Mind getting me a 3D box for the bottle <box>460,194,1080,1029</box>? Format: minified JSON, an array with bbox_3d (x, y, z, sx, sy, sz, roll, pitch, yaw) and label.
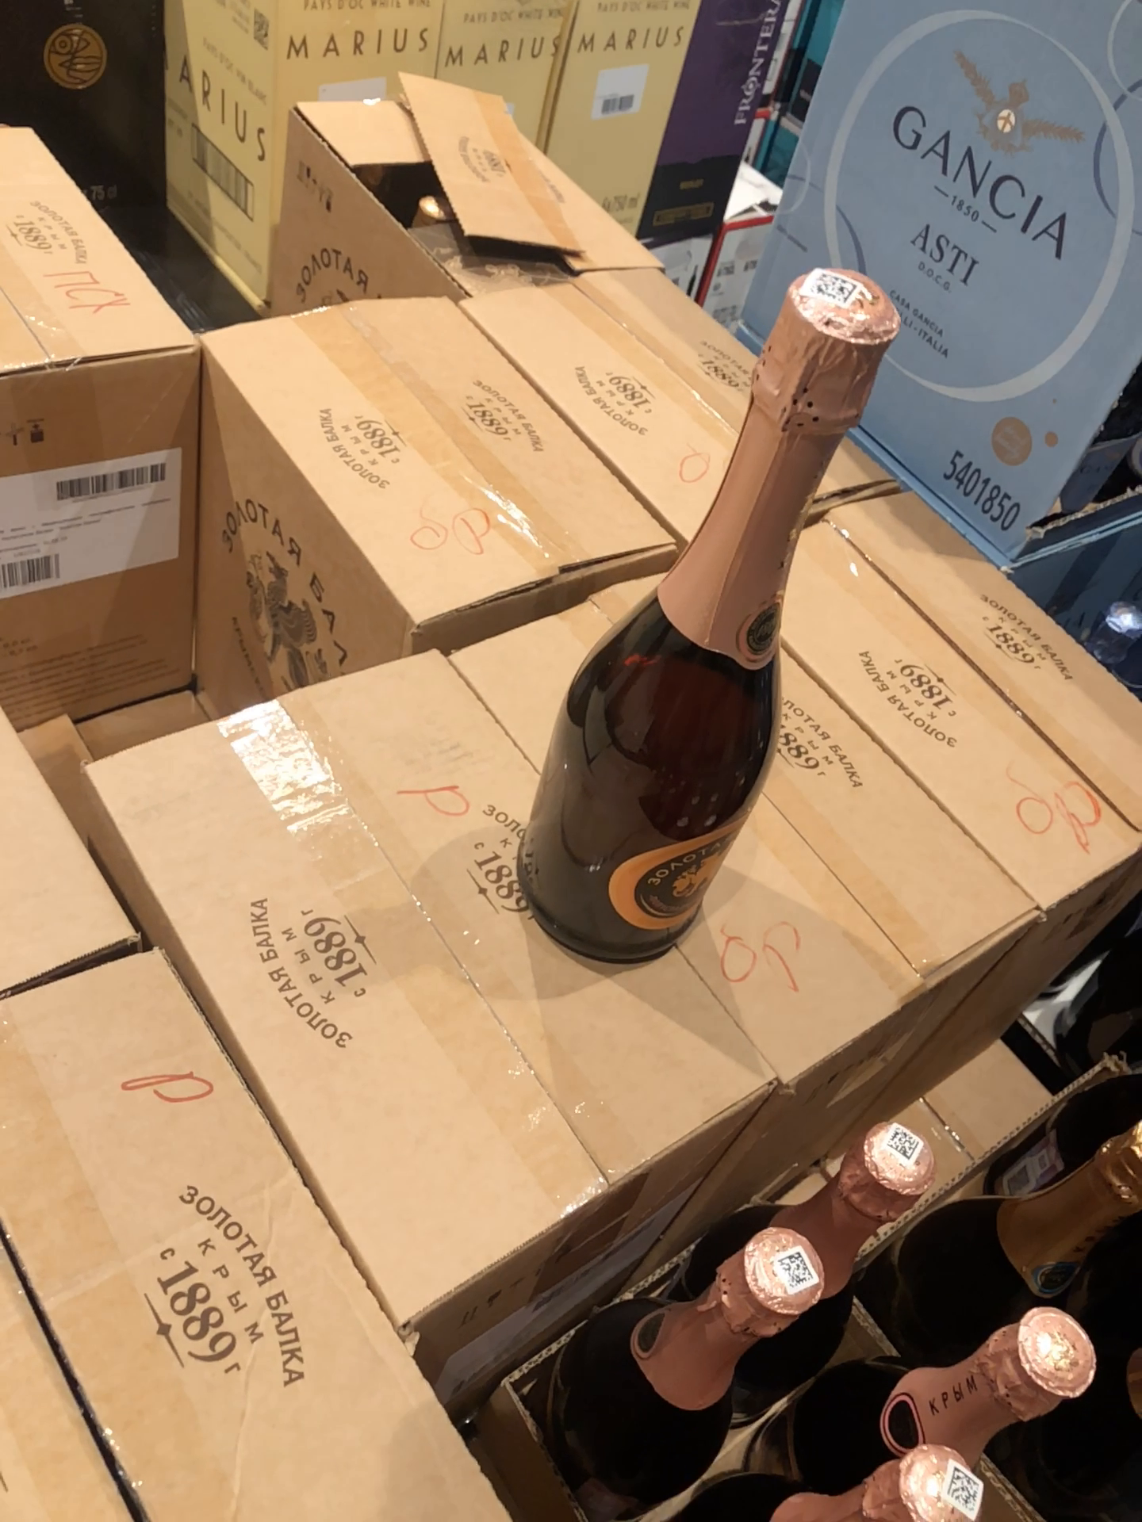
[{"bbox_3d":[0.048,-0.033,0.468,0.100,0.308,0.090,-26,61,-33],"label":"bottle"}]
